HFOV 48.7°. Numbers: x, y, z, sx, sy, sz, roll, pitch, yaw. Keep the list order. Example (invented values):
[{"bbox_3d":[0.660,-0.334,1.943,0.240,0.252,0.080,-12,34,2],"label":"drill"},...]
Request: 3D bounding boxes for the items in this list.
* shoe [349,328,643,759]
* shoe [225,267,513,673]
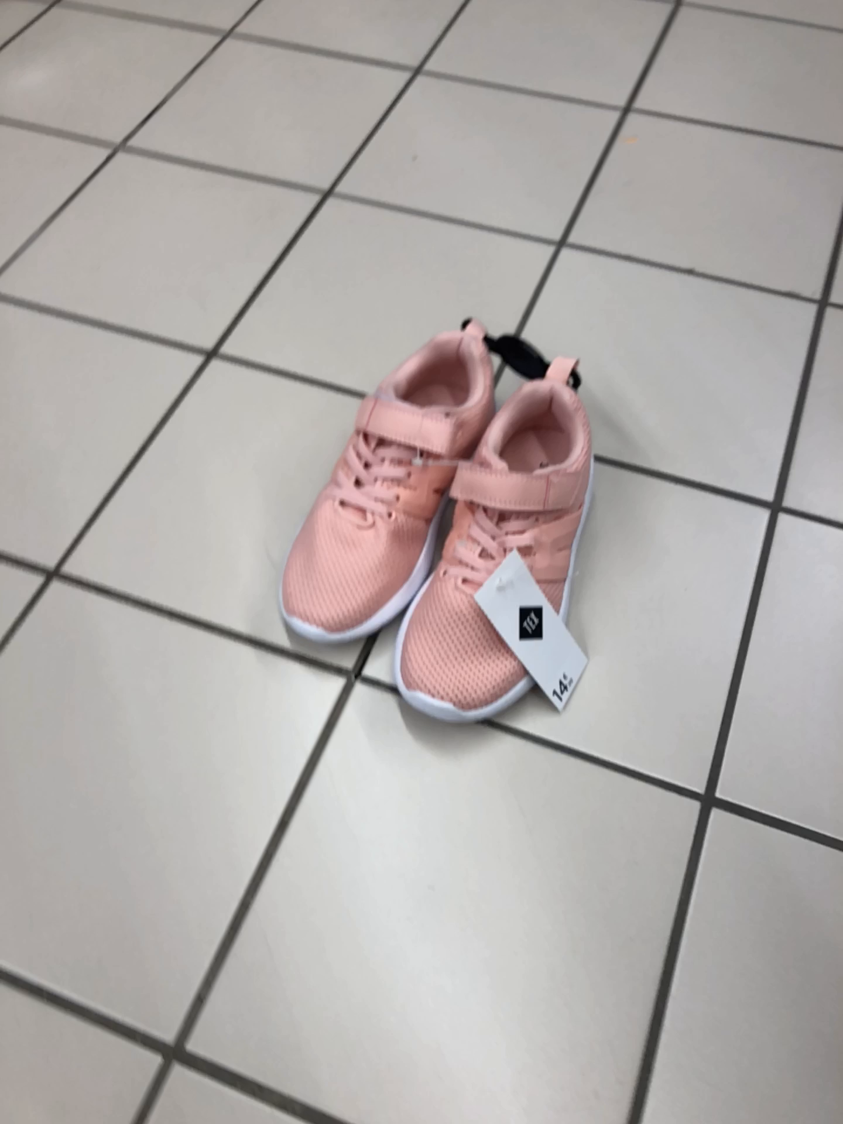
[{"bbox_3d":[0.045,-0.015,0.503,0.083,0.093,0.204,18,58,13],"label":"shoe"},{"bbox_3d":[-0.020,-0.059,0.534,0.080,0.092,0.211,17,58,12],"label":"shoe"}]
